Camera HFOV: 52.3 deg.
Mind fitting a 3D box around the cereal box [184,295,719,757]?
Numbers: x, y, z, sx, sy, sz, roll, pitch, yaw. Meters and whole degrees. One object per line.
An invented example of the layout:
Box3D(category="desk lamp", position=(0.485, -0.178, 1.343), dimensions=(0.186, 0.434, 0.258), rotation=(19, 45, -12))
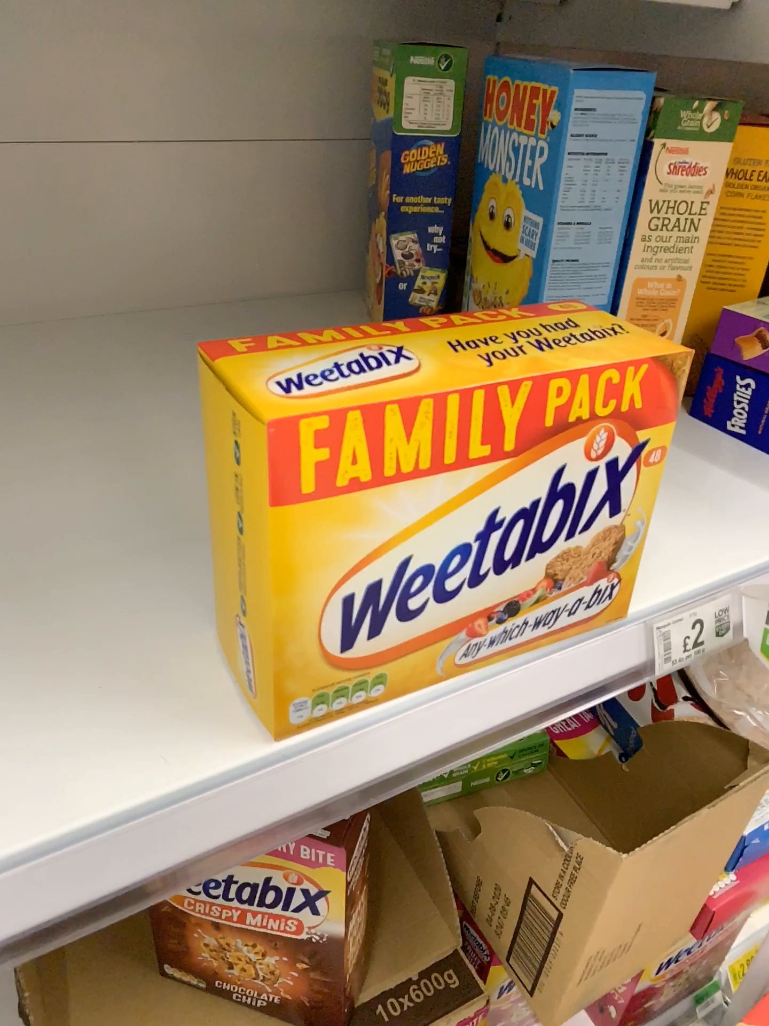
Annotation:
Box3D(category="cereal box", position=(0.036, -0.005, 0.440), dimensions=(0.261, 0.188, 0.091), rotation=(-13, 35, -26))
